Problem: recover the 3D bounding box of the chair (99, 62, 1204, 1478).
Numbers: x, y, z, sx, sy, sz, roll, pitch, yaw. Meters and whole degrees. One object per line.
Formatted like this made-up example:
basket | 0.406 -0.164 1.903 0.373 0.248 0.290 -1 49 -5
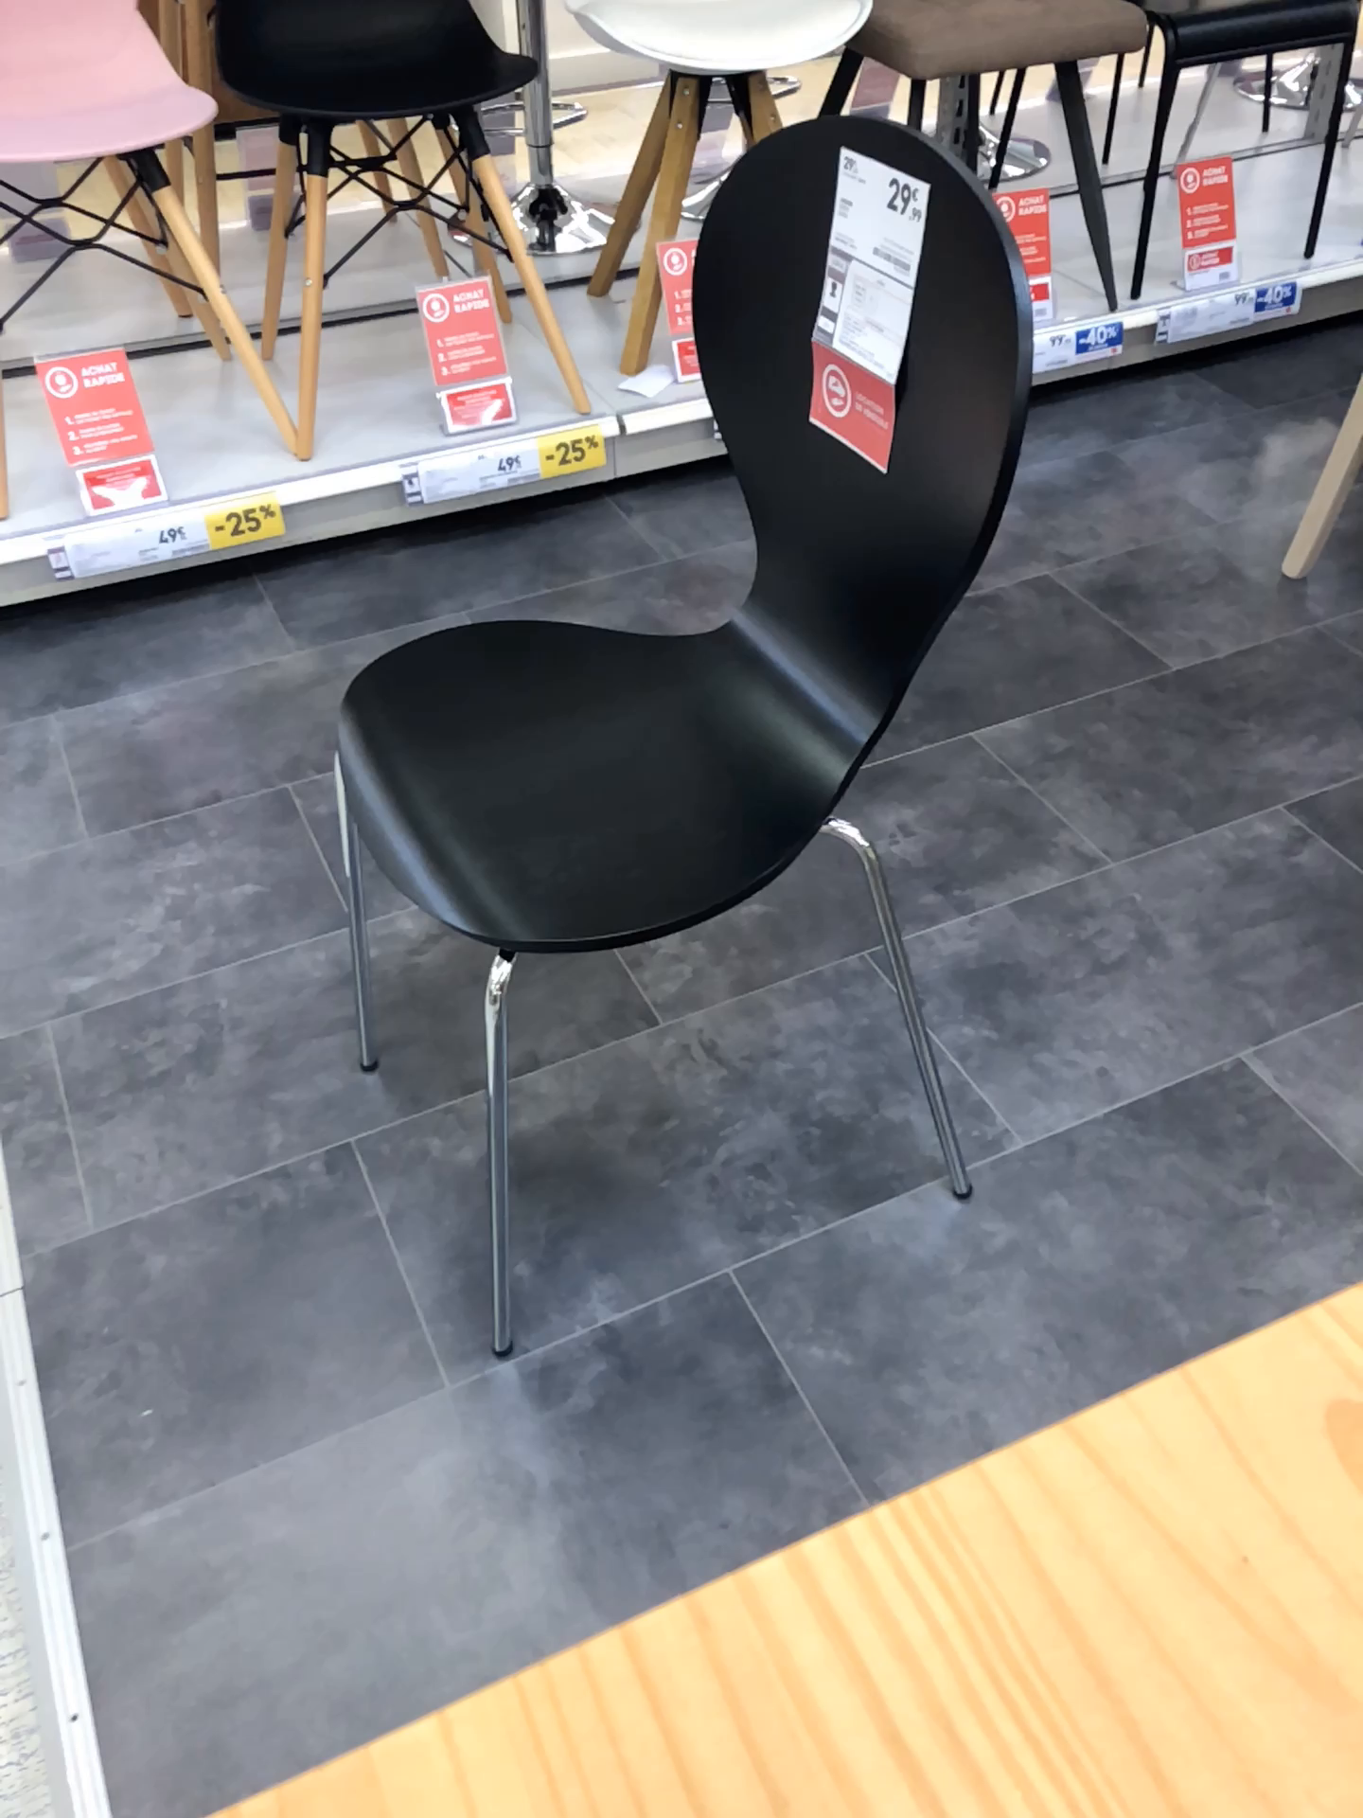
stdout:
chair | -0.040 -0.093 1.182 0.501 0.895 0.491 -19 43 -19
